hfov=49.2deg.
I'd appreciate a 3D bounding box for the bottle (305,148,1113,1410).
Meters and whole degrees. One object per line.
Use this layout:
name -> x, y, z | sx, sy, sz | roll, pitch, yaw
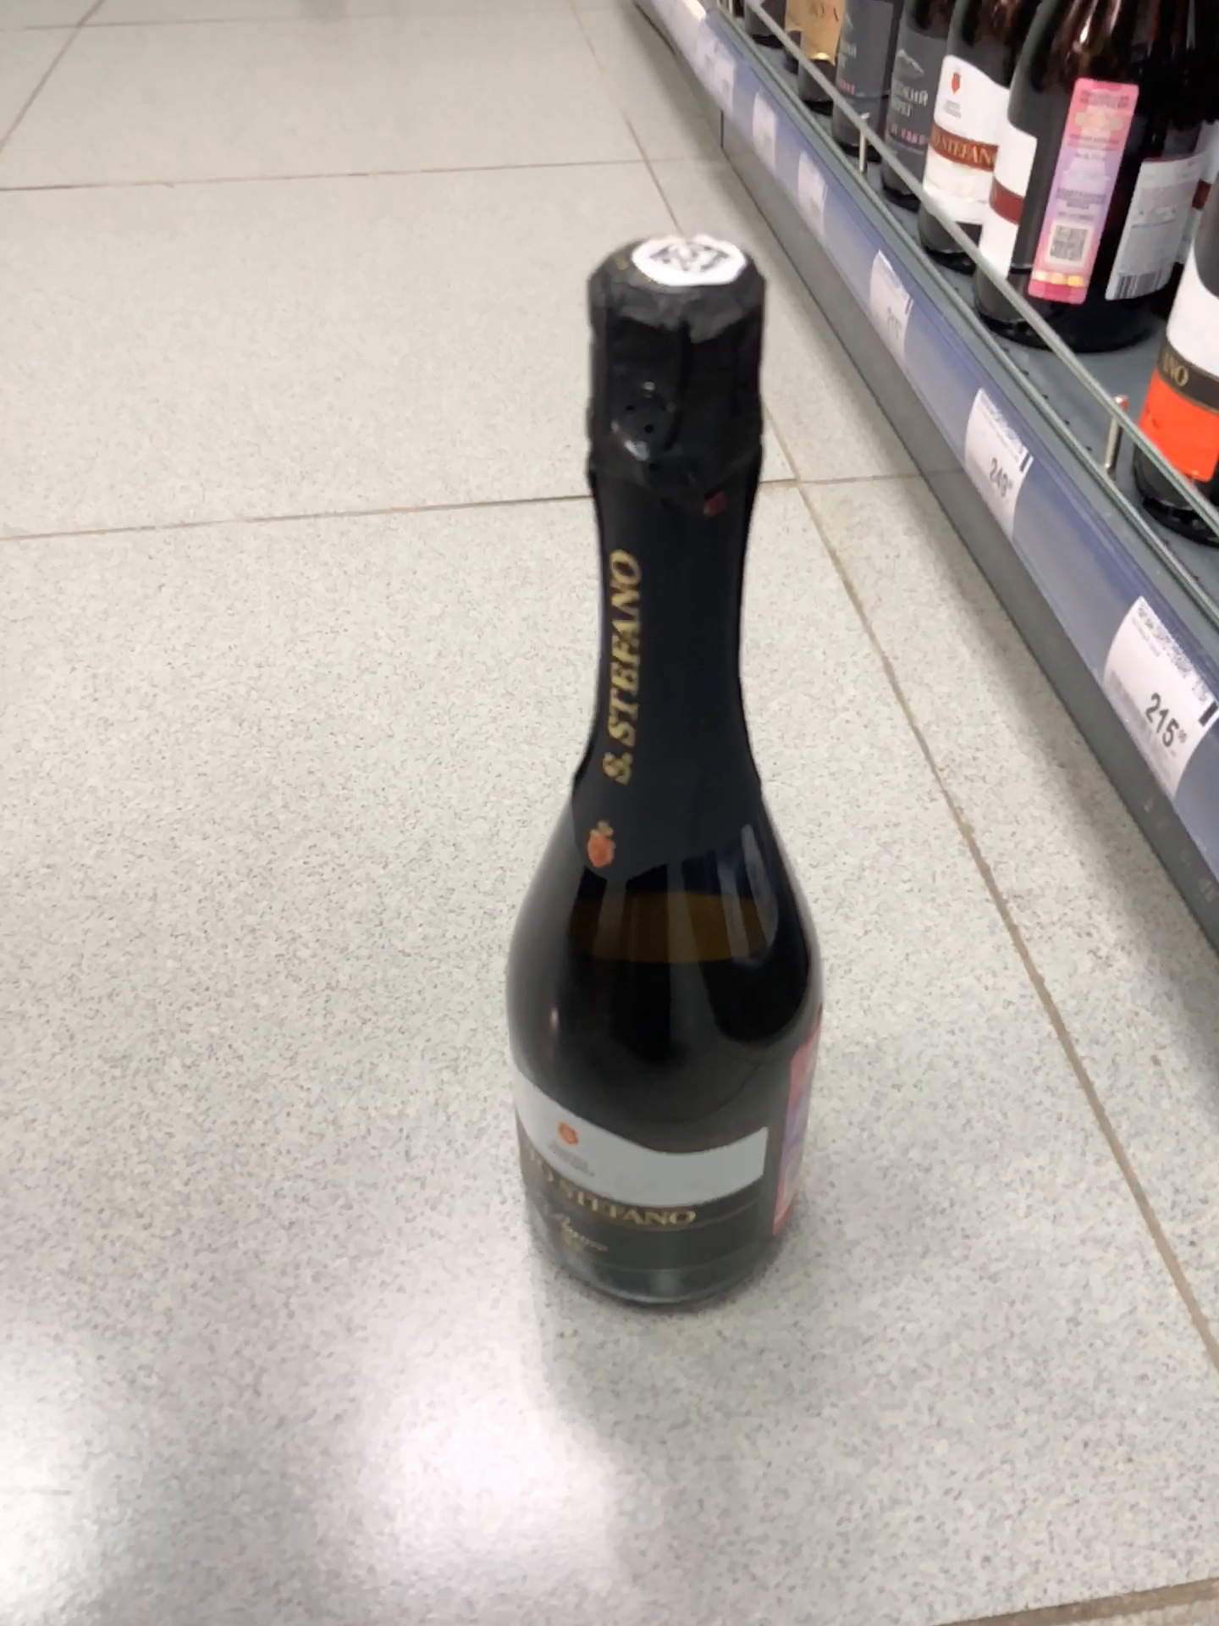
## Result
bottle -> 0.019, 0.011, 0.342 | 0.110, 0.298, 0.100 | 0, 41, 0
